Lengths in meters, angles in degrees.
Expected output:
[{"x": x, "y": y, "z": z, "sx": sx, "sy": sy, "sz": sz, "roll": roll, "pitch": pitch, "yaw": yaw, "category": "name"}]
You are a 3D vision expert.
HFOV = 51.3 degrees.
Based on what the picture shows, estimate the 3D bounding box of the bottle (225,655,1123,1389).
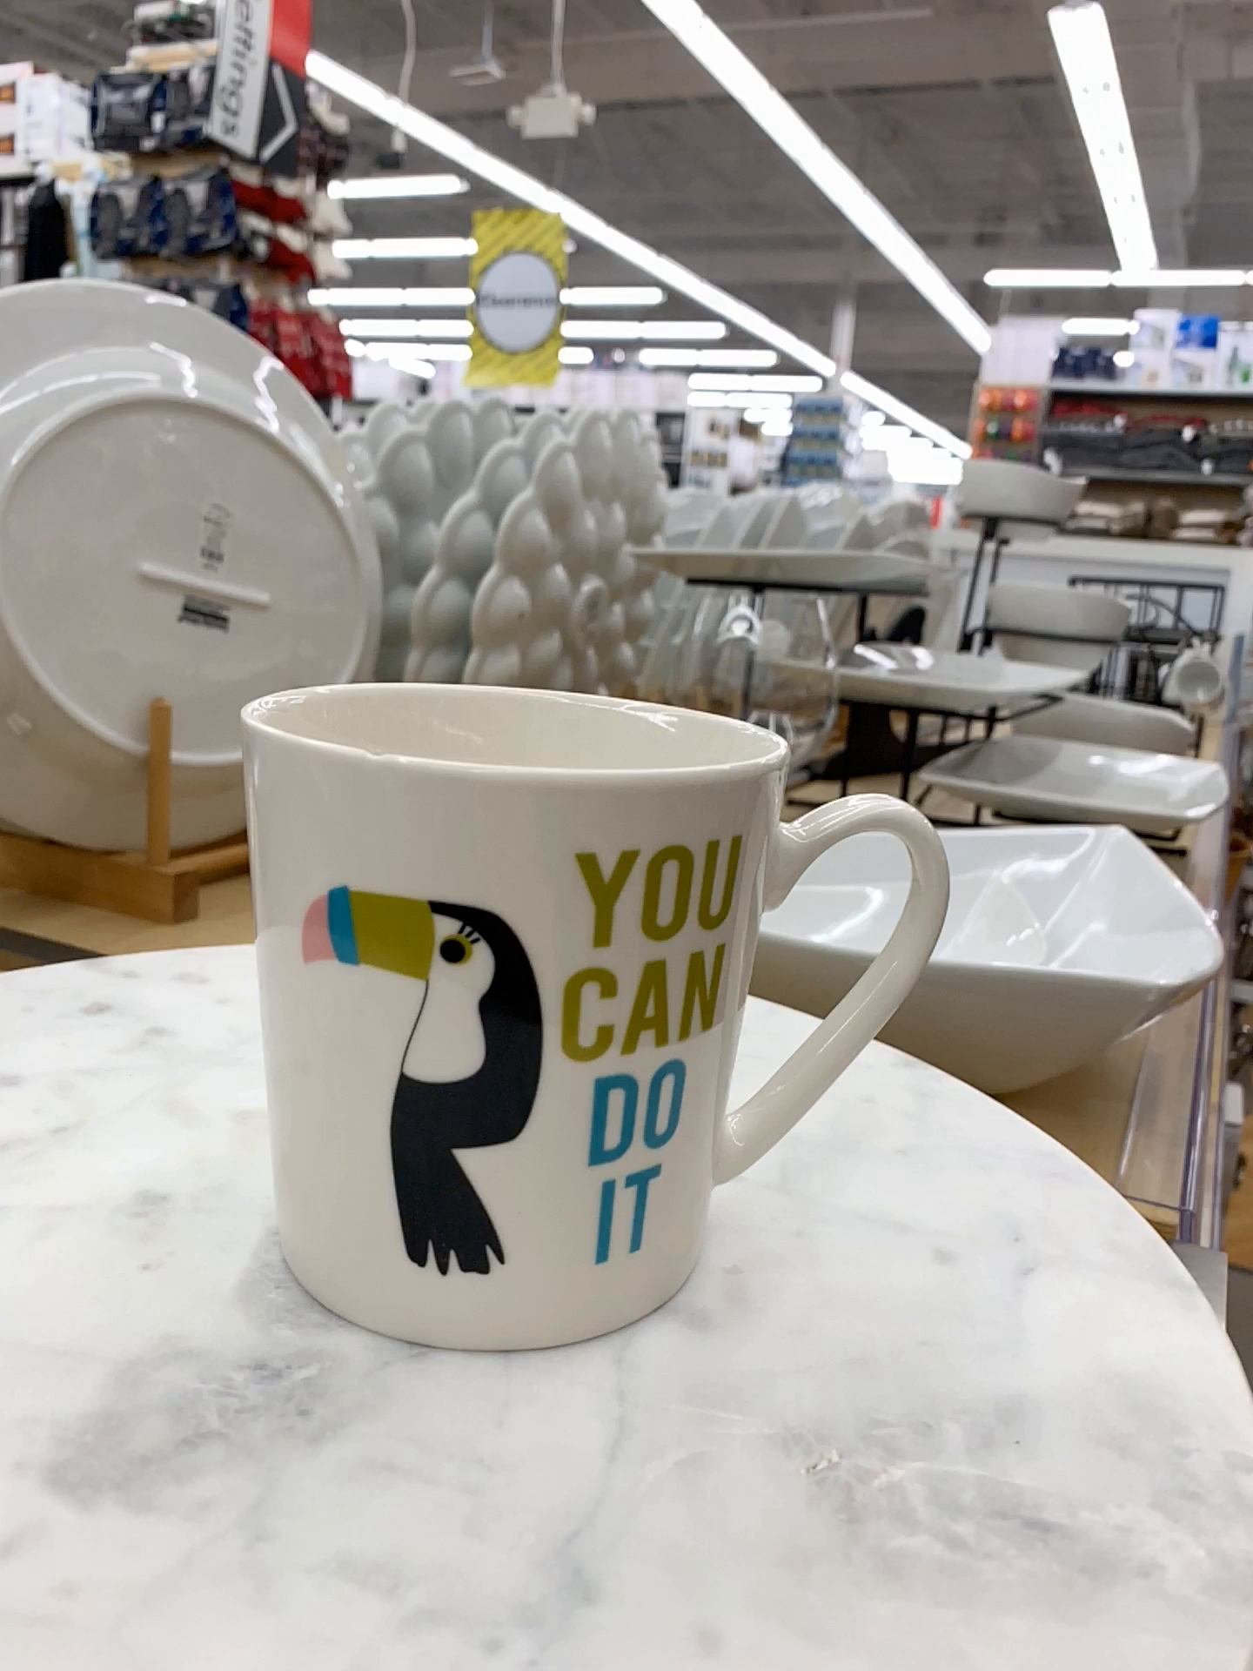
[{"x": -0.002, "y": 0.027, "z": 0.264, "sx": 0.143, "sy": 0.107, "sz": 0.104, "roll": 2, "pitch": 12, "yaw": -13, "category": "bottle"}]
